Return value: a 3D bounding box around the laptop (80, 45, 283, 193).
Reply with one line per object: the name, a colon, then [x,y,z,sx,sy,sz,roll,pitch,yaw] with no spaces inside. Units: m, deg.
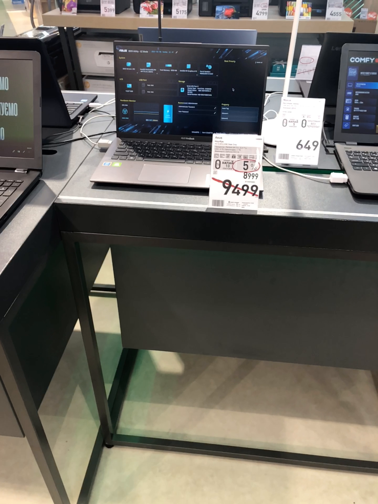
laptop: [-0.004,-0.298,0.890,0.355,0.200,0.288,4,38,7]
